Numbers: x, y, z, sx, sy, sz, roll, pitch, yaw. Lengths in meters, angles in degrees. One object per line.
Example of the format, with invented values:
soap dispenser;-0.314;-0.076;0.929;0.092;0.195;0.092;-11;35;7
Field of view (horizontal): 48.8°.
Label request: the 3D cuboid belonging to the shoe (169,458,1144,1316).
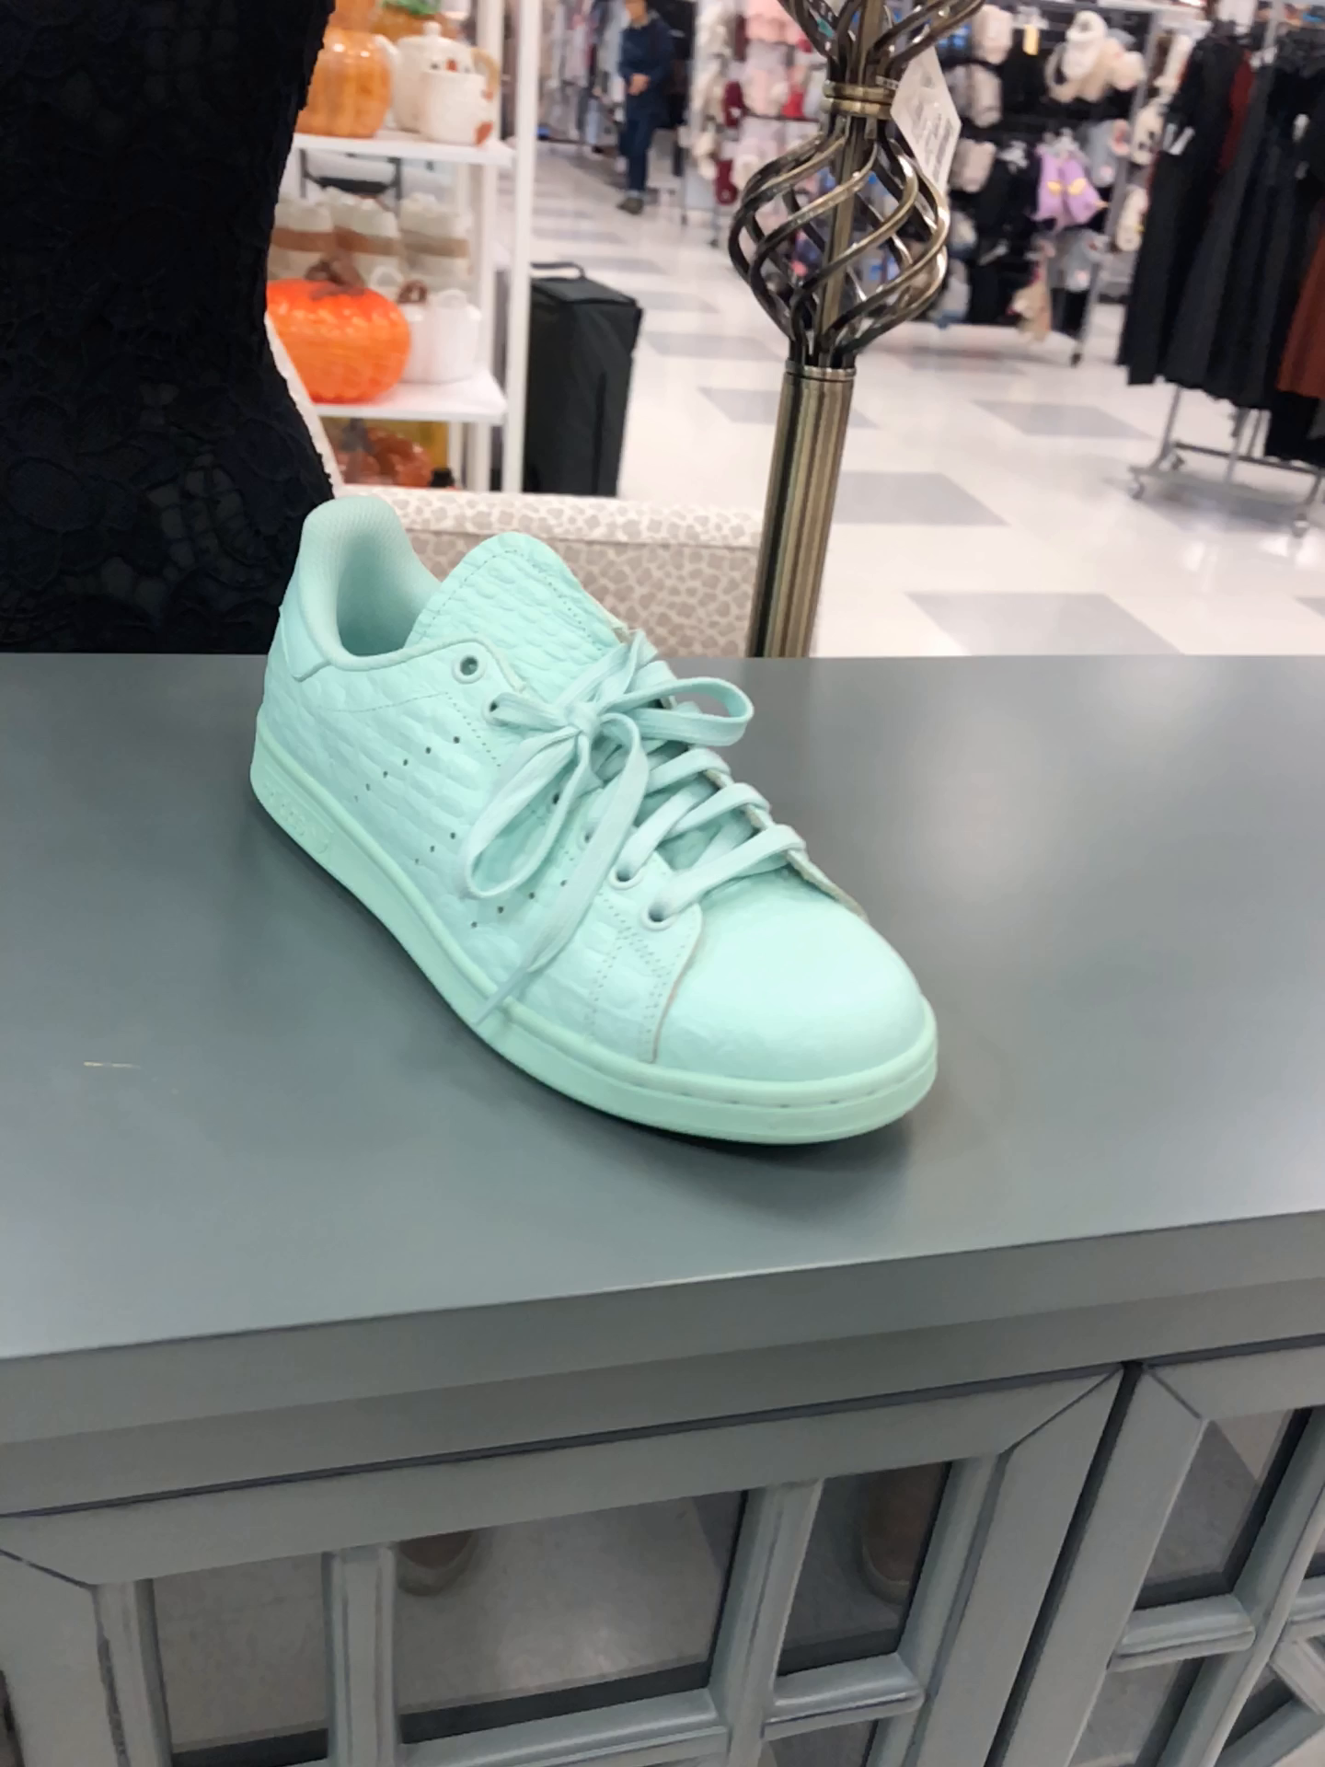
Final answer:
shoe;-0.021;-0.023;0.398;0.107;0.112;0.252;-21;40;-39
